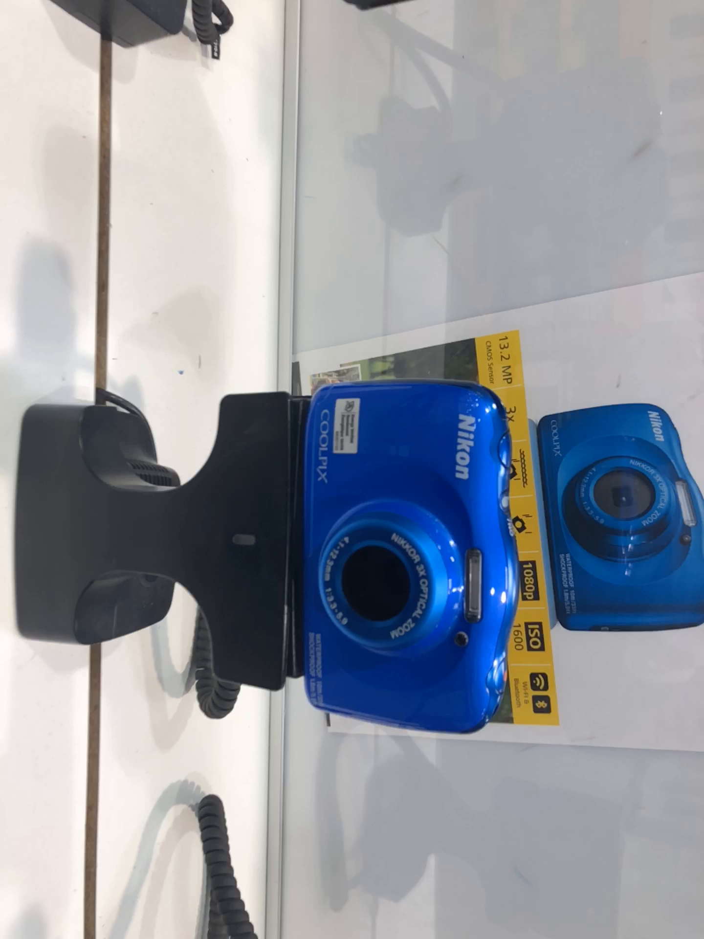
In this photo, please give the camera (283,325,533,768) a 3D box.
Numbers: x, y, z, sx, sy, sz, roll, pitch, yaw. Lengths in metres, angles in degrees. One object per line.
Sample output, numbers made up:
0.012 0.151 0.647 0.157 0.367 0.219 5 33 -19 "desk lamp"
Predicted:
0.020 0.022 0.265 0.050 0.070 0.130 -1 92 -64 "camera"
